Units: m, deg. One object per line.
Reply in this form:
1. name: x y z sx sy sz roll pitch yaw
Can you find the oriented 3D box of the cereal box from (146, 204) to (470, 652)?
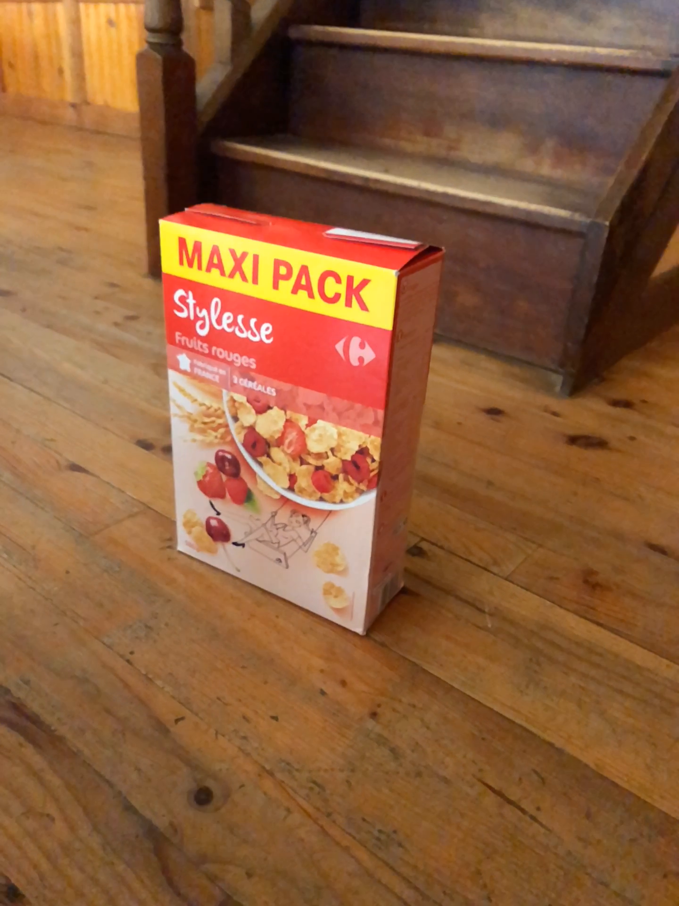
1. cereal box: -0.034 -0.023 0.586 0.210 0.288 0.091 19 31 25
